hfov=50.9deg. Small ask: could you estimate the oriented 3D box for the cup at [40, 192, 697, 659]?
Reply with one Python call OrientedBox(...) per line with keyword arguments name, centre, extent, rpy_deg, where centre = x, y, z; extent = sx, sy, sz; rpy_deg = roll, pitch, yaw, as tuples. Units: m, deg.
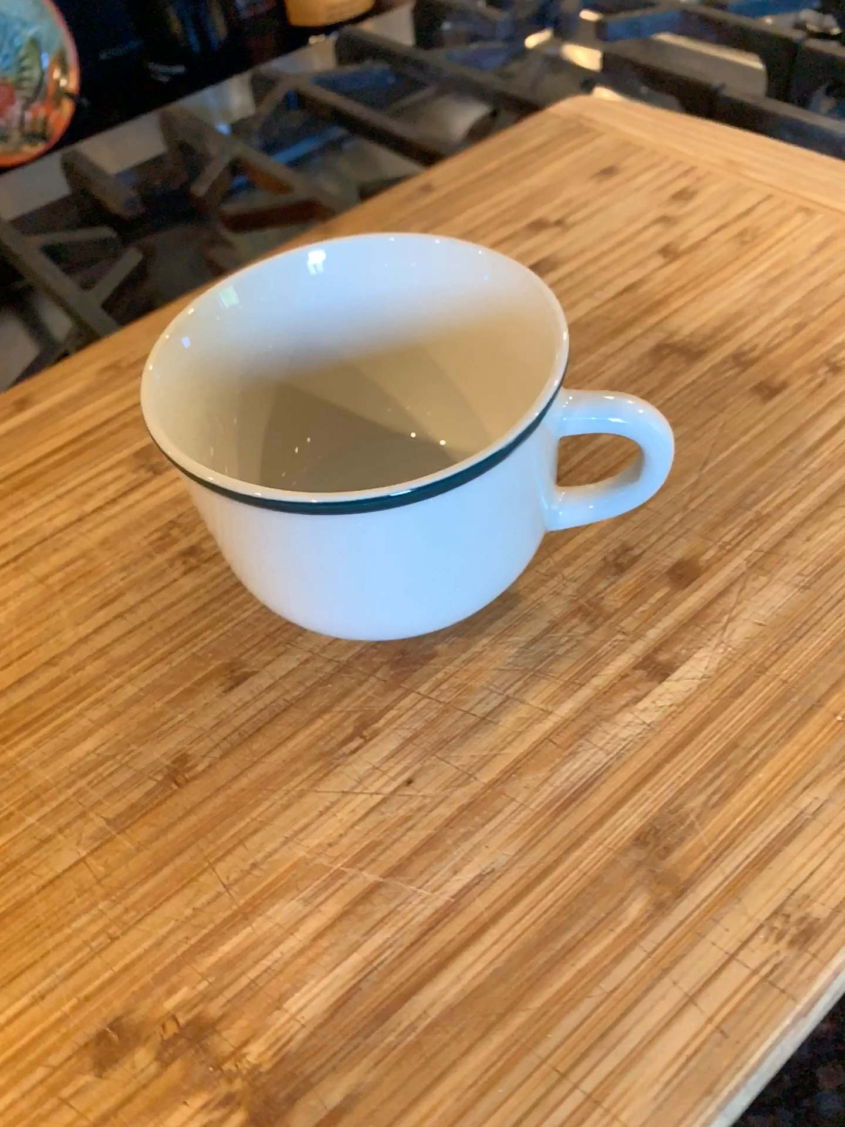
OrientedBox(name="cup", centre=(-0.005, -0.032, 0.210), extent=(0.120, 0.060, 0.090), rpy_deg=(0, 50, 9))
